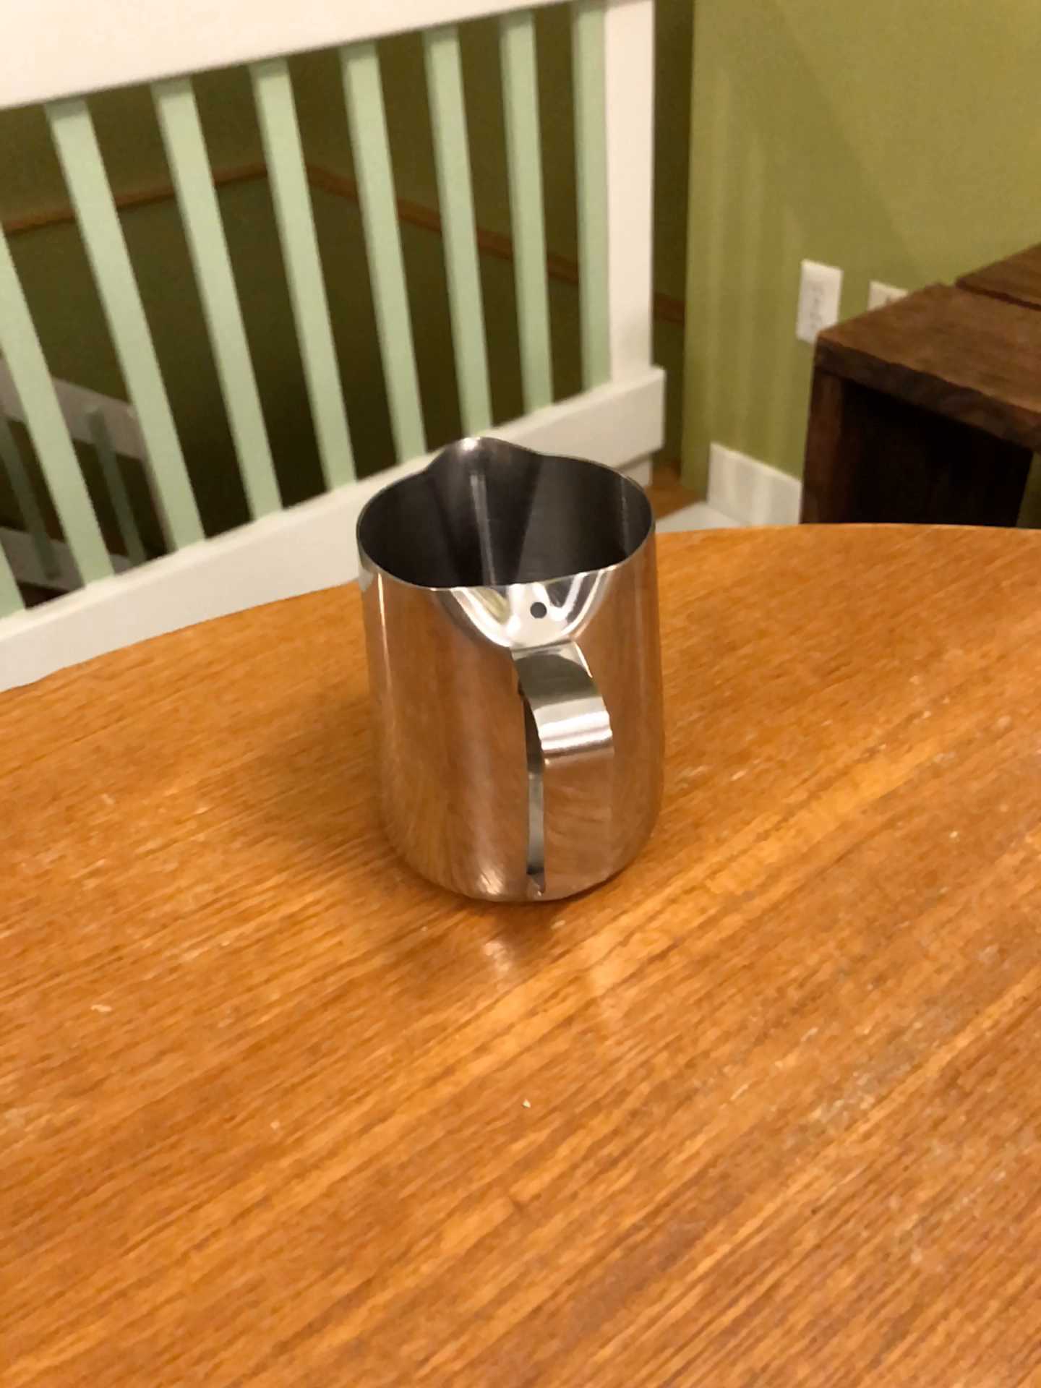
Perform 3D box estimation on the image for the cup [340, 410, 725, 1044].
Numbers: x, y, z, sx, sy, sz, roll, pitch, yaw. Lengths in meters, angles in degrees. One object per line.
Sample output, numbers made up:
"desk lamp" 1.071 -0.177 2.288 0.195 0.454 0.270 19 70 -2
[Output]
"cup" -0.002 0.004 0.336 0.082 0.114 0.136 -7 38 -4
